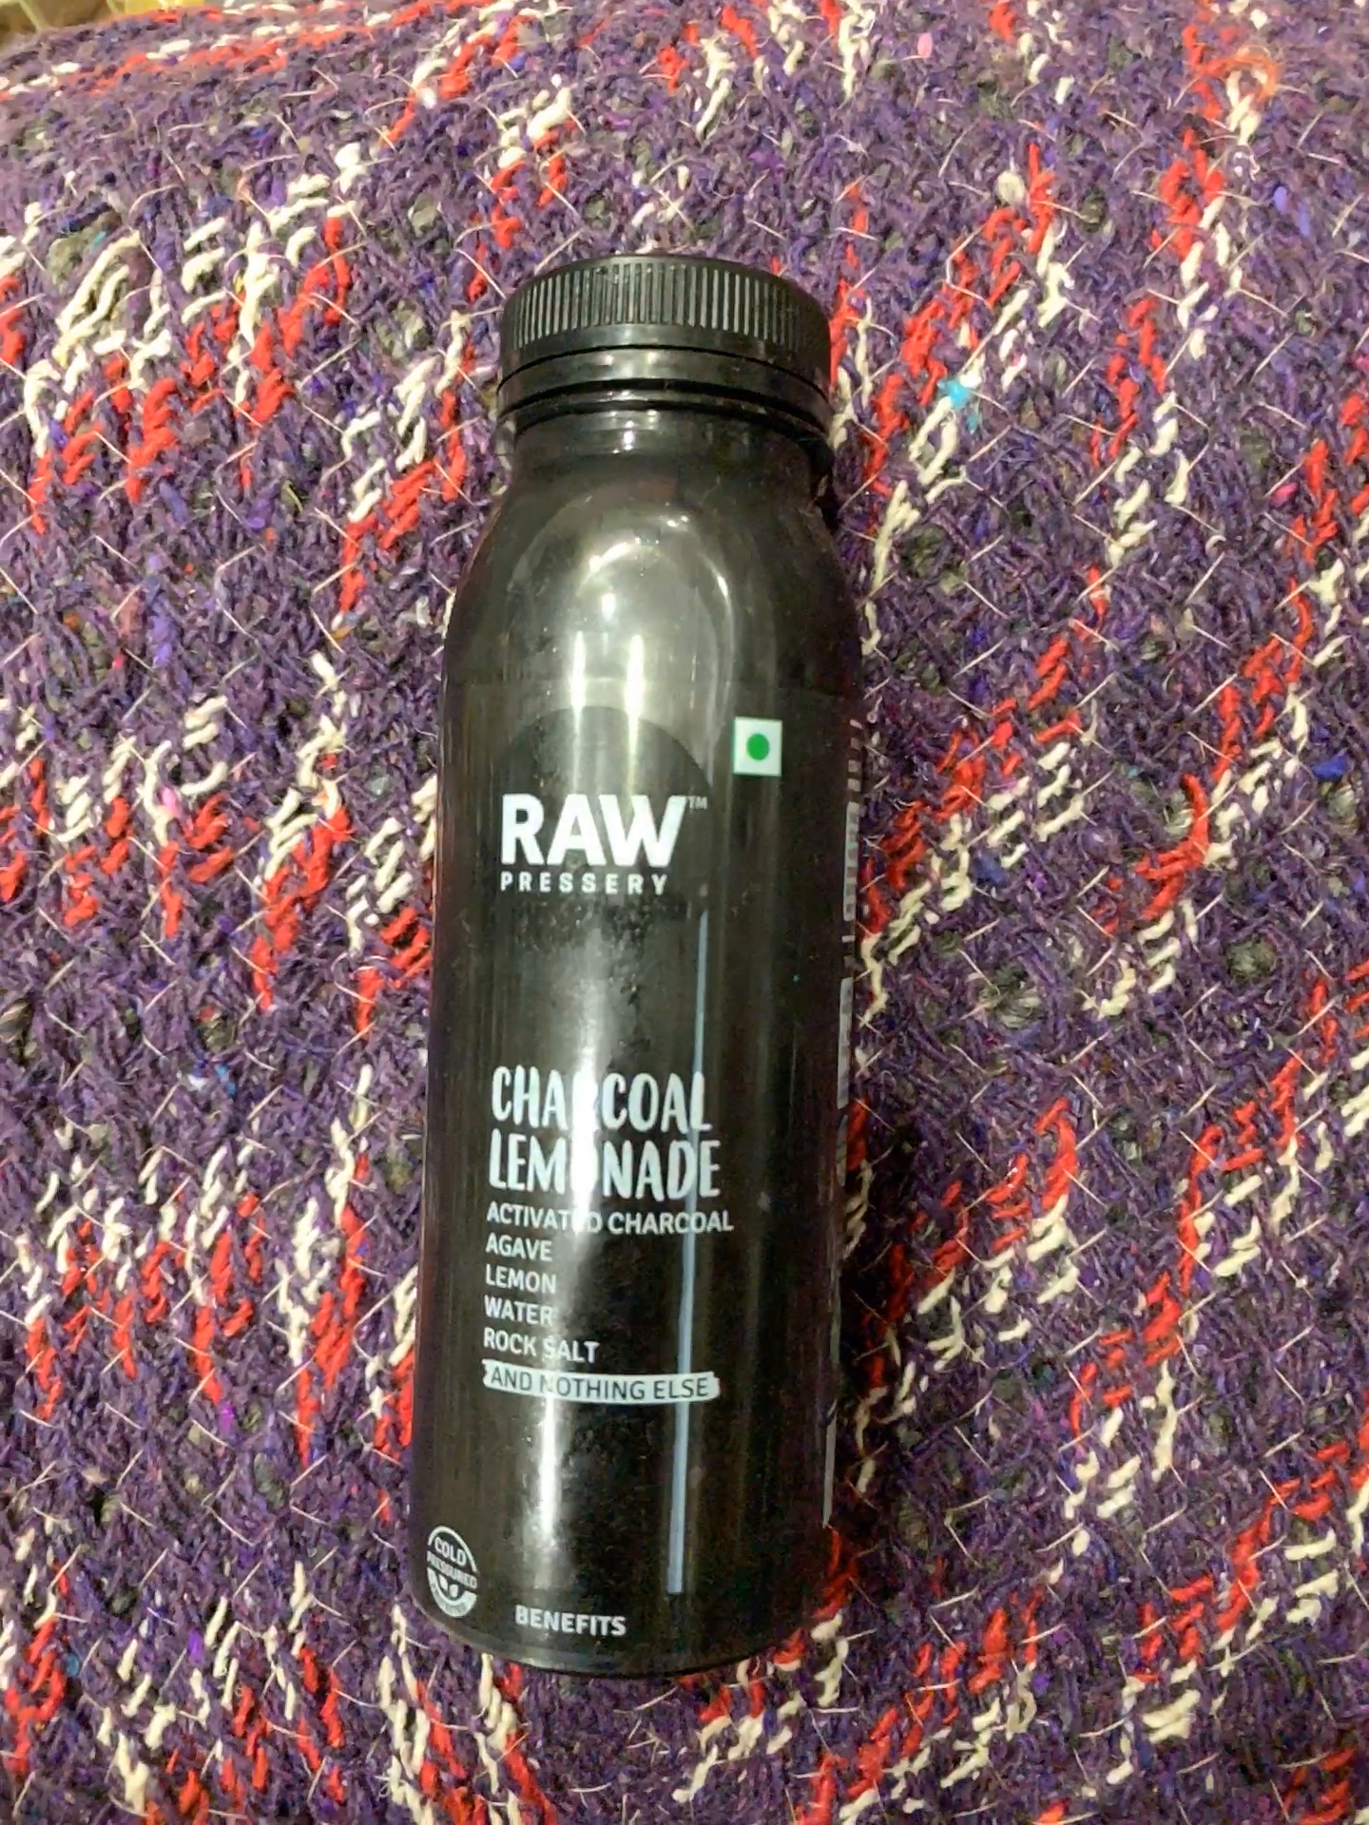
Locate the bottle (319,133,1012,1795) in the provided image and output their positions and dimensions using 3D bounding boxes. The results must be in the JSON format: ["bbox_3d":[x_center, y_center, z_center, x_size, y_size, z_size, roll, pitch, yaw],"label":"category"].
[{"bbox_3d":[-0.002,0.005,0.164,0.060,0.050,0.160,4,95,5],"label":"bottle"}]
